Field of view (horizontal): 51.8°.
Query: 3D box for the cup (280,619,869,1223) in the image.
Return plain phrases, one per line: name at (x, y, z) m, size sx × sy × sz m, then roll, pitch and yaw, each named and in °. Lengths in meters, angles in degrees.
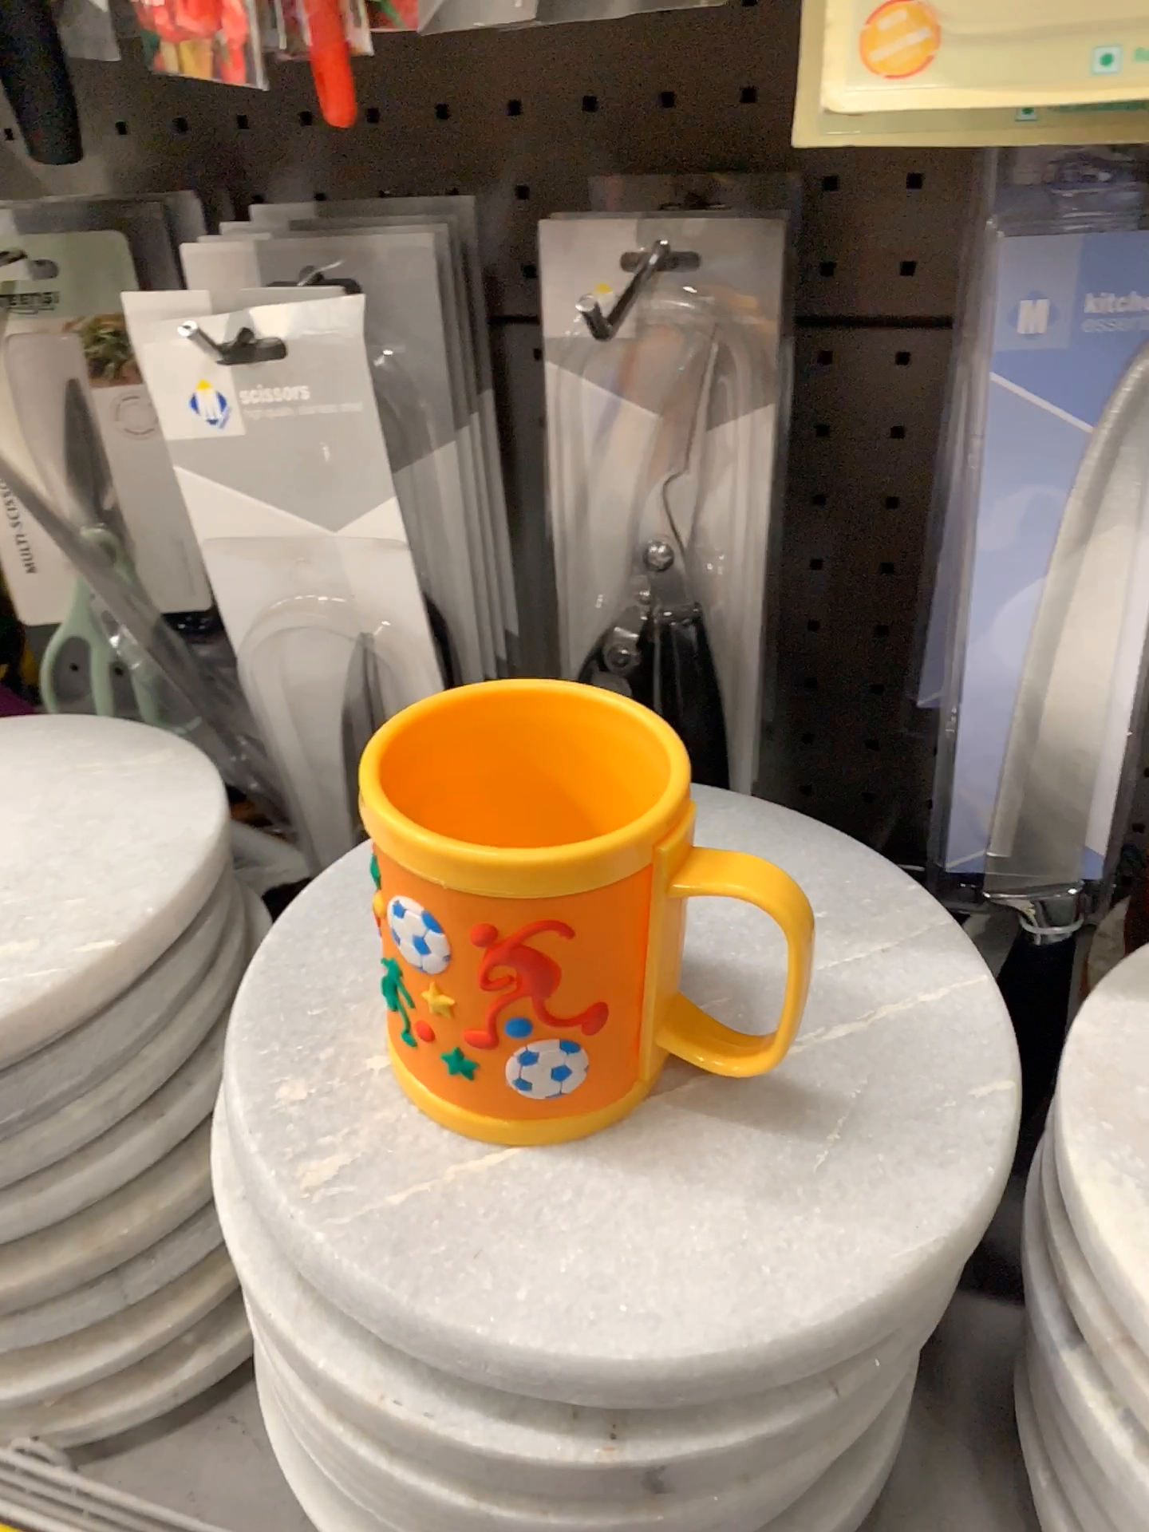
cup at (0.006, 0.032, 0.292) m, size 0.110 × 0.100 × 0.080 m, roll 10°, pitch 35°, yaw 21°
